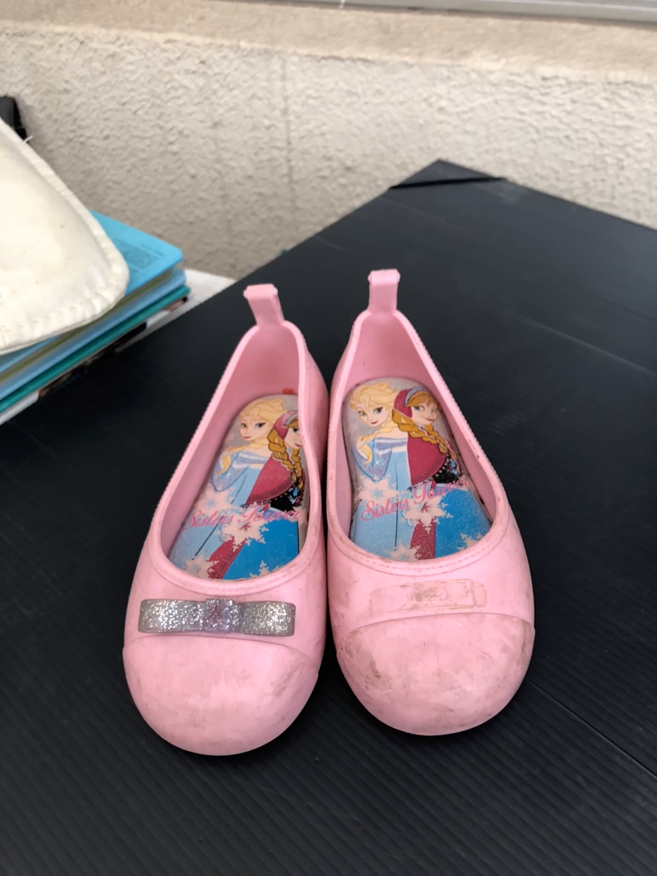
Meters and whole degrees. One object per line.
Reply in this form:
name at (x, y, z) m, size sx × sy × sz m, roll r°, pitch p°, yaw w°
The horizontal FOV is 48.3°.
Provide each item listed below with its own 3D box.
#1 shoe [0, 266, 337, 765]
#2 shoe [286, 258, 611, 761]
shoe at (-0.042, 0.017, 0.259) m, size 0.077 × 0.070 × 0.161 m, roll 3°, pitch 49°, yaw 4°
shoe at (0.027, 0.015, 0.254) m, size 0.077 × 0.070 × 0.161 m, roll -2°, pitch 48°, yaw 0°
